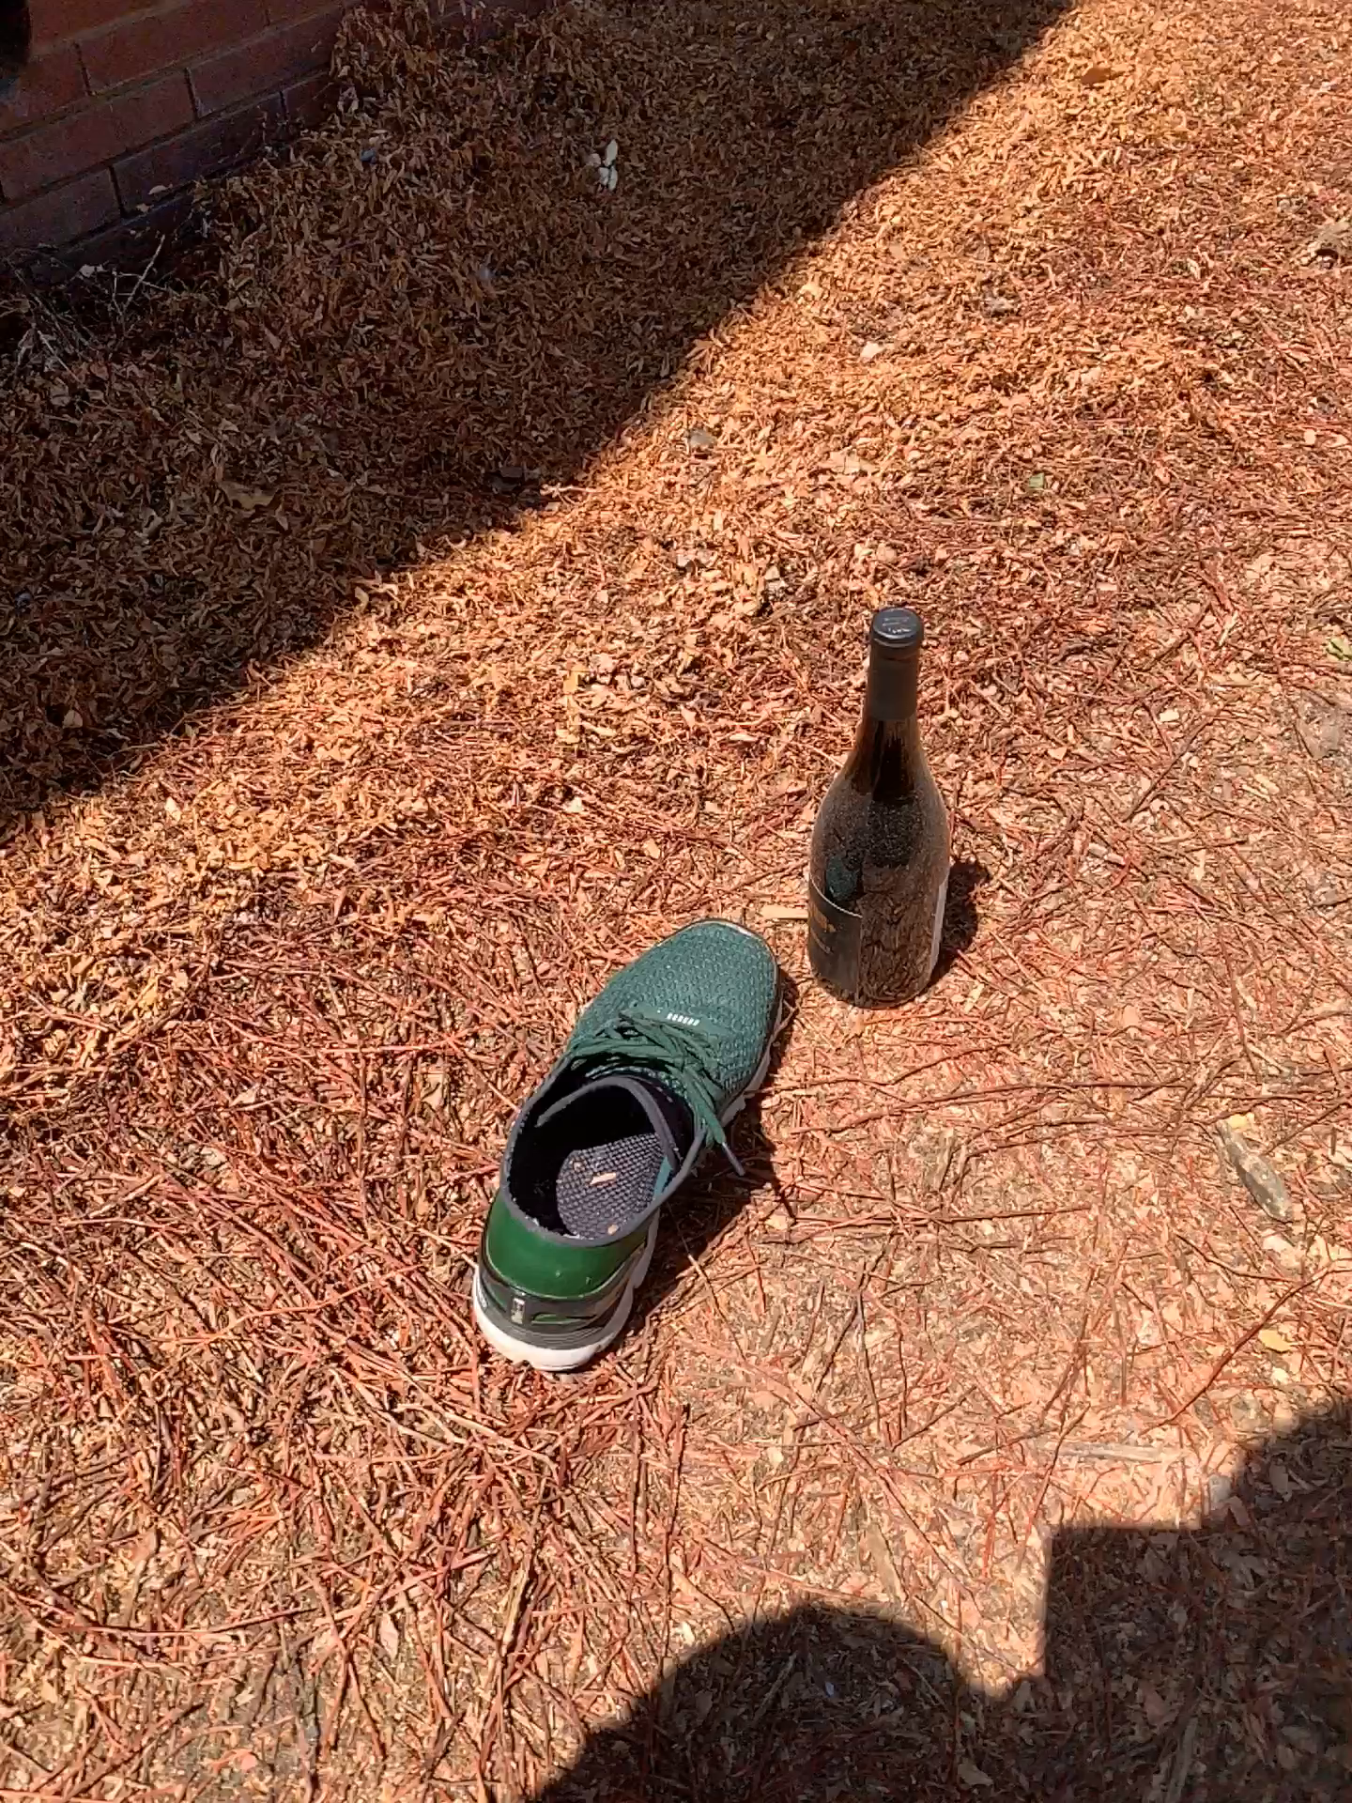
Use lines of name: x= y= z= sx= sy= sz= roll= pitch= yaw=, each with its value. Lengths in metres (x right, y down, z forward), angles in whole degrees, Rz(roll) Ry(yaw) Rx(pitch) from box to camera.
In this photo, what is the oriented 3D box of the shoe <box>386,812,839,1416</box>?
shoe: x=-0.021 y=0.104 z=0.792 sx=0.130 sy=0.099 sz=0.321 roll=16 pitch=49 yaw=15
